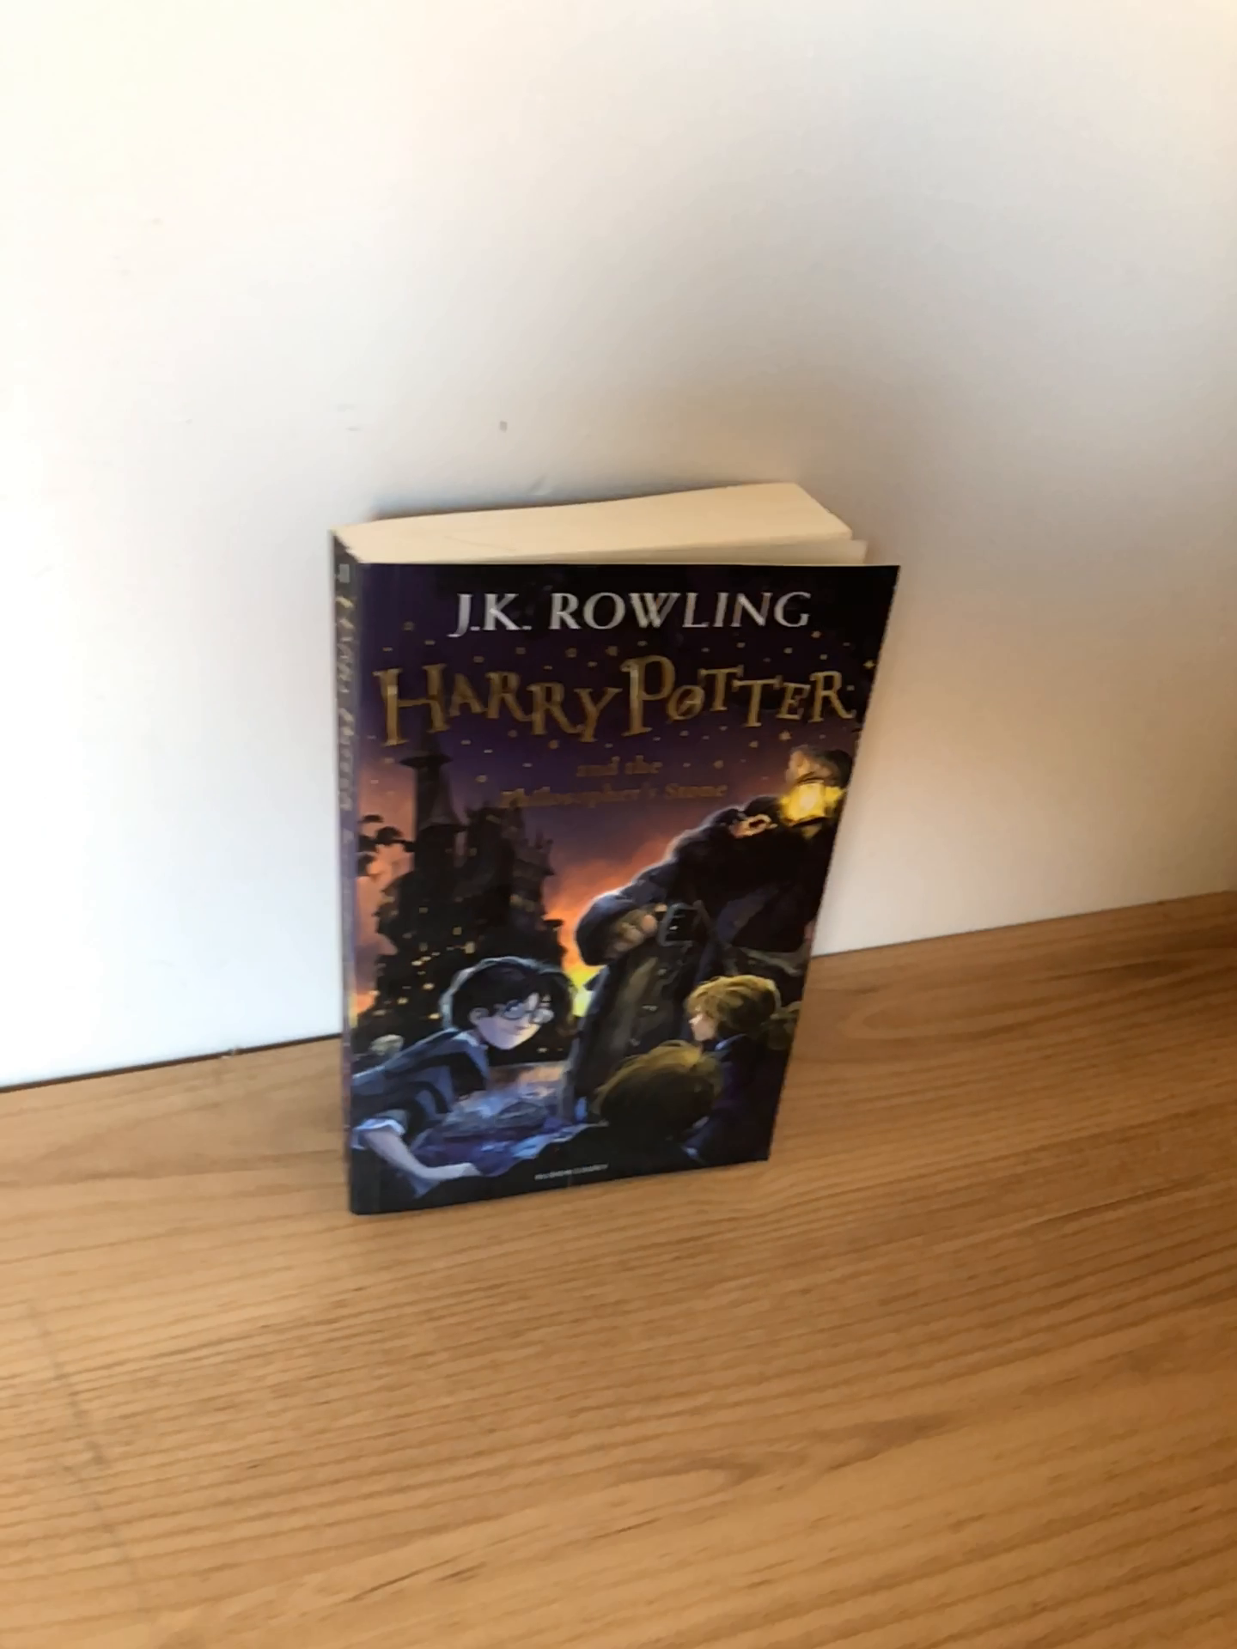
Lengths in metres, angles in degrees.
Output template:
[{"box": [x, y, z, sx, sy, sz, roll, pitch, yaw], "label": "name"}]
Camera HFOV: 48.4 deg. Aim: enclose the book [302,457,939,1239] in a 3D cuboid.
[{"box": [-0.012, 0.008, 0.373, 0.135, 0.192, 0.068, -2, 31, -19], "label": "book"}]
